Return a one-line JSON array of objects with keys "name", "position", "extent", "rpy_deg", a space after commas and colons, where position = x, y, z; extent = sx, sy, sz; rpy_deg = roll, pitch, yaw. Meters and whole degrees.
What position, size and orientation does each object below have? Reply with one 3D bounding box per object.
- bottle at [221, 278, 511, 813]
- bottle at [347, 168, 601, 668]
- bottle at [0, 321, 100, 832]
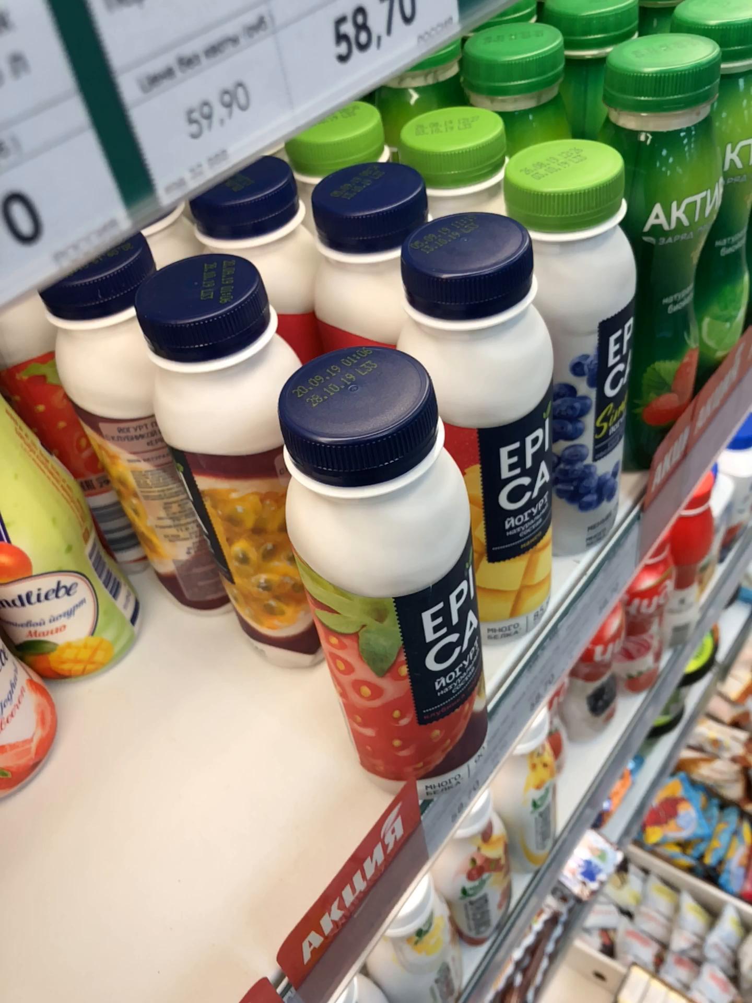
[{"name": "bottle", "position": [0.008, 0.027, 0.265], "extent": [0.050, 0.179, 0.050], "rpy_deg": [-5, 46, 5]}, {"name": "bottle", "position": [0.038, -0.019, 0.306], "extent": [0.053, 0.177, 0.051], "rpy_deg": [-5, 46, 5]}, {"name": "bottle", "position": [-0.159, 0.037, 0.276], "extent": [0.051, 0.182, 0.053], "rpy_deg": [-5, 46, 5]}]
